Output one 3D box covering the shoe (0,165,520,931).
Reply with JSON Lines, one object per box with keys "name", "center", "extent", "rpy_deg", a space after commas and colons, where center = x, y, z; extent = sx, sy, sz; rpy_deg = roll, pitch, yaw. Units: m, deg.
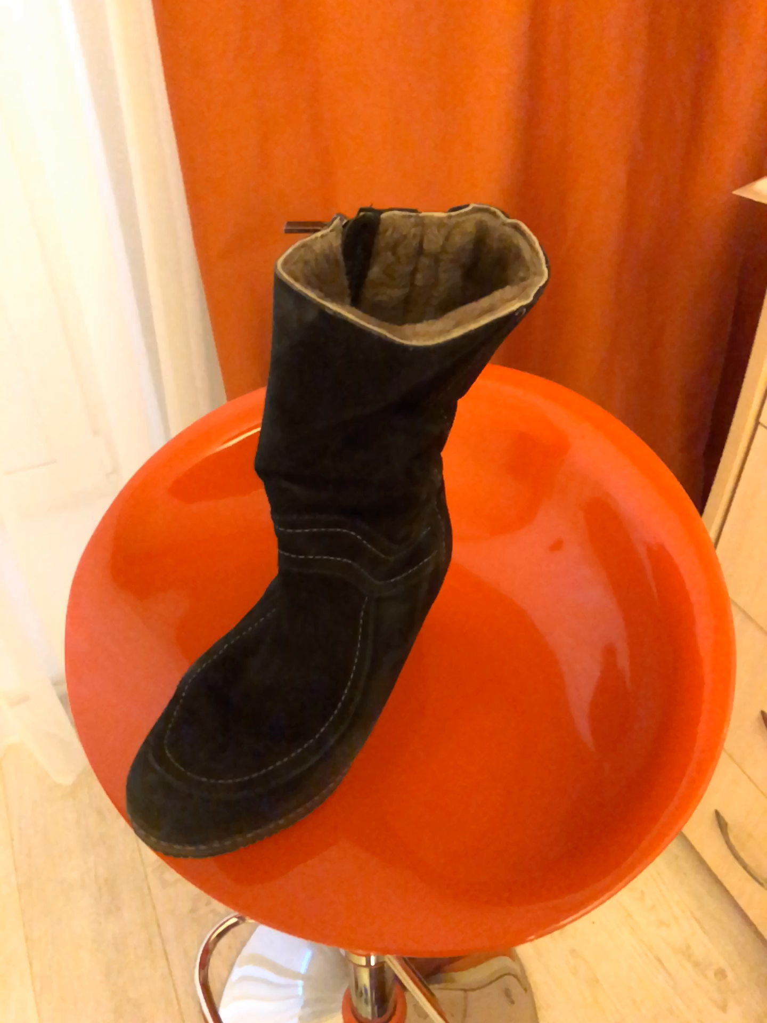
{"name": "shoe", "center": [-0.043, 0.007, 0.409], "extent": [0.100, 0.248, 0.262], "rpy_deg": [20, 45, 23]}
